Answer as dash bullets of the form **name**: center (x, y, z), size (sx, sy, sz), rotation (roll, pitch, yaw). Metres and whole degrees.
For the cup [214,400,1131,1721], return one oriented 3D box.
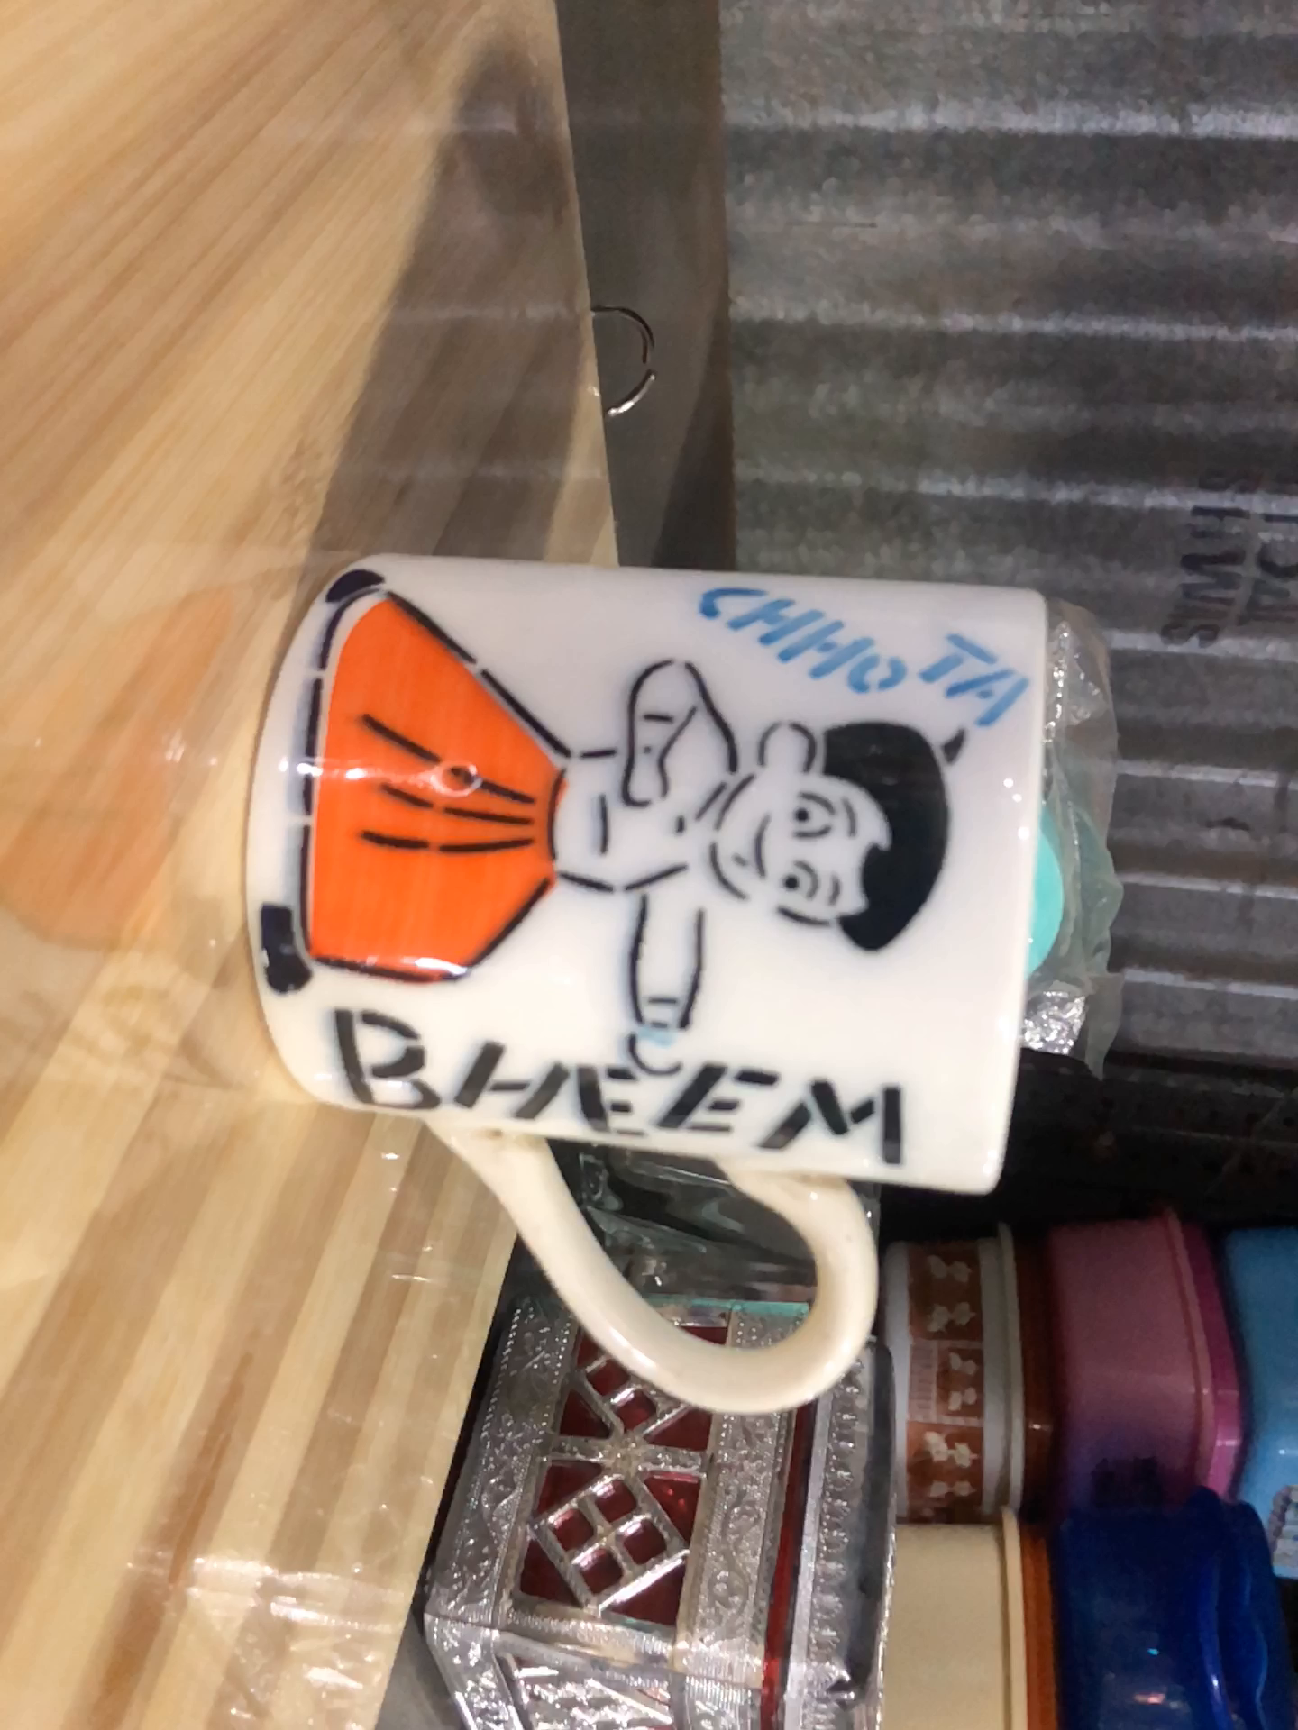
- **cup**: center (0.006, 0.012, 0.183), size (0.100, 0.080, 0.120), rotation (-43, 137, -76)
